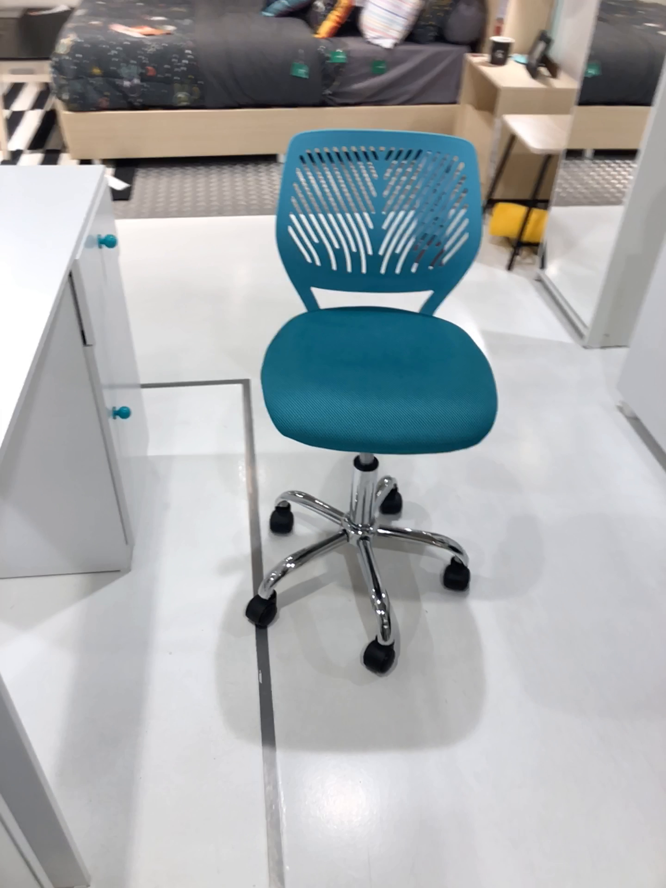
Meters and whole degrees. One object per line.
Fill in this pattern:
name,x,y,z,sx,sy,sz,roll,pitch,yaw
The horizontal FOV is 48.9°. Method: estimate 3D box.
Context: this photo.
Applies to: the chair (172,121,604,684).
chair,0.053,-0.054,1.272,0.480,0.804,0.534,1,39,-1
